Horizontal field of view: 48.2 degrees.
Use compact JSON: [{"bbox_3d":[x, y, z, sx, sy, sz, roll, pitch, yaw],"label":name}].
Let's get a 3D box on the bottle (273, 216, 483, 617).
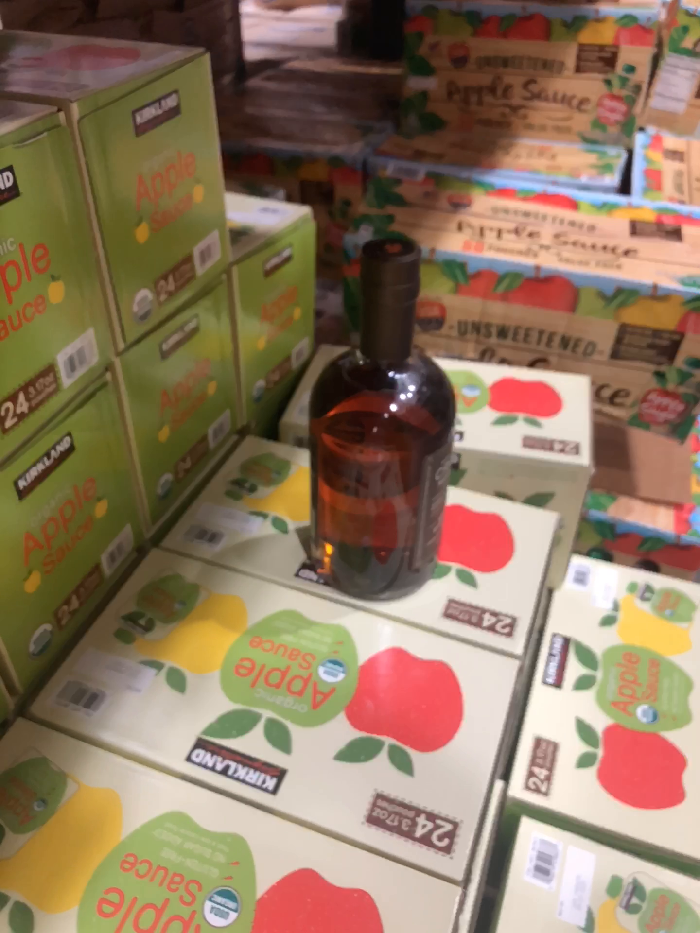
[{"bbox_3d":[0.019,-0.026,0.488,0.090,0.219,0.100,10,39,13],"label":"bottle"}]
